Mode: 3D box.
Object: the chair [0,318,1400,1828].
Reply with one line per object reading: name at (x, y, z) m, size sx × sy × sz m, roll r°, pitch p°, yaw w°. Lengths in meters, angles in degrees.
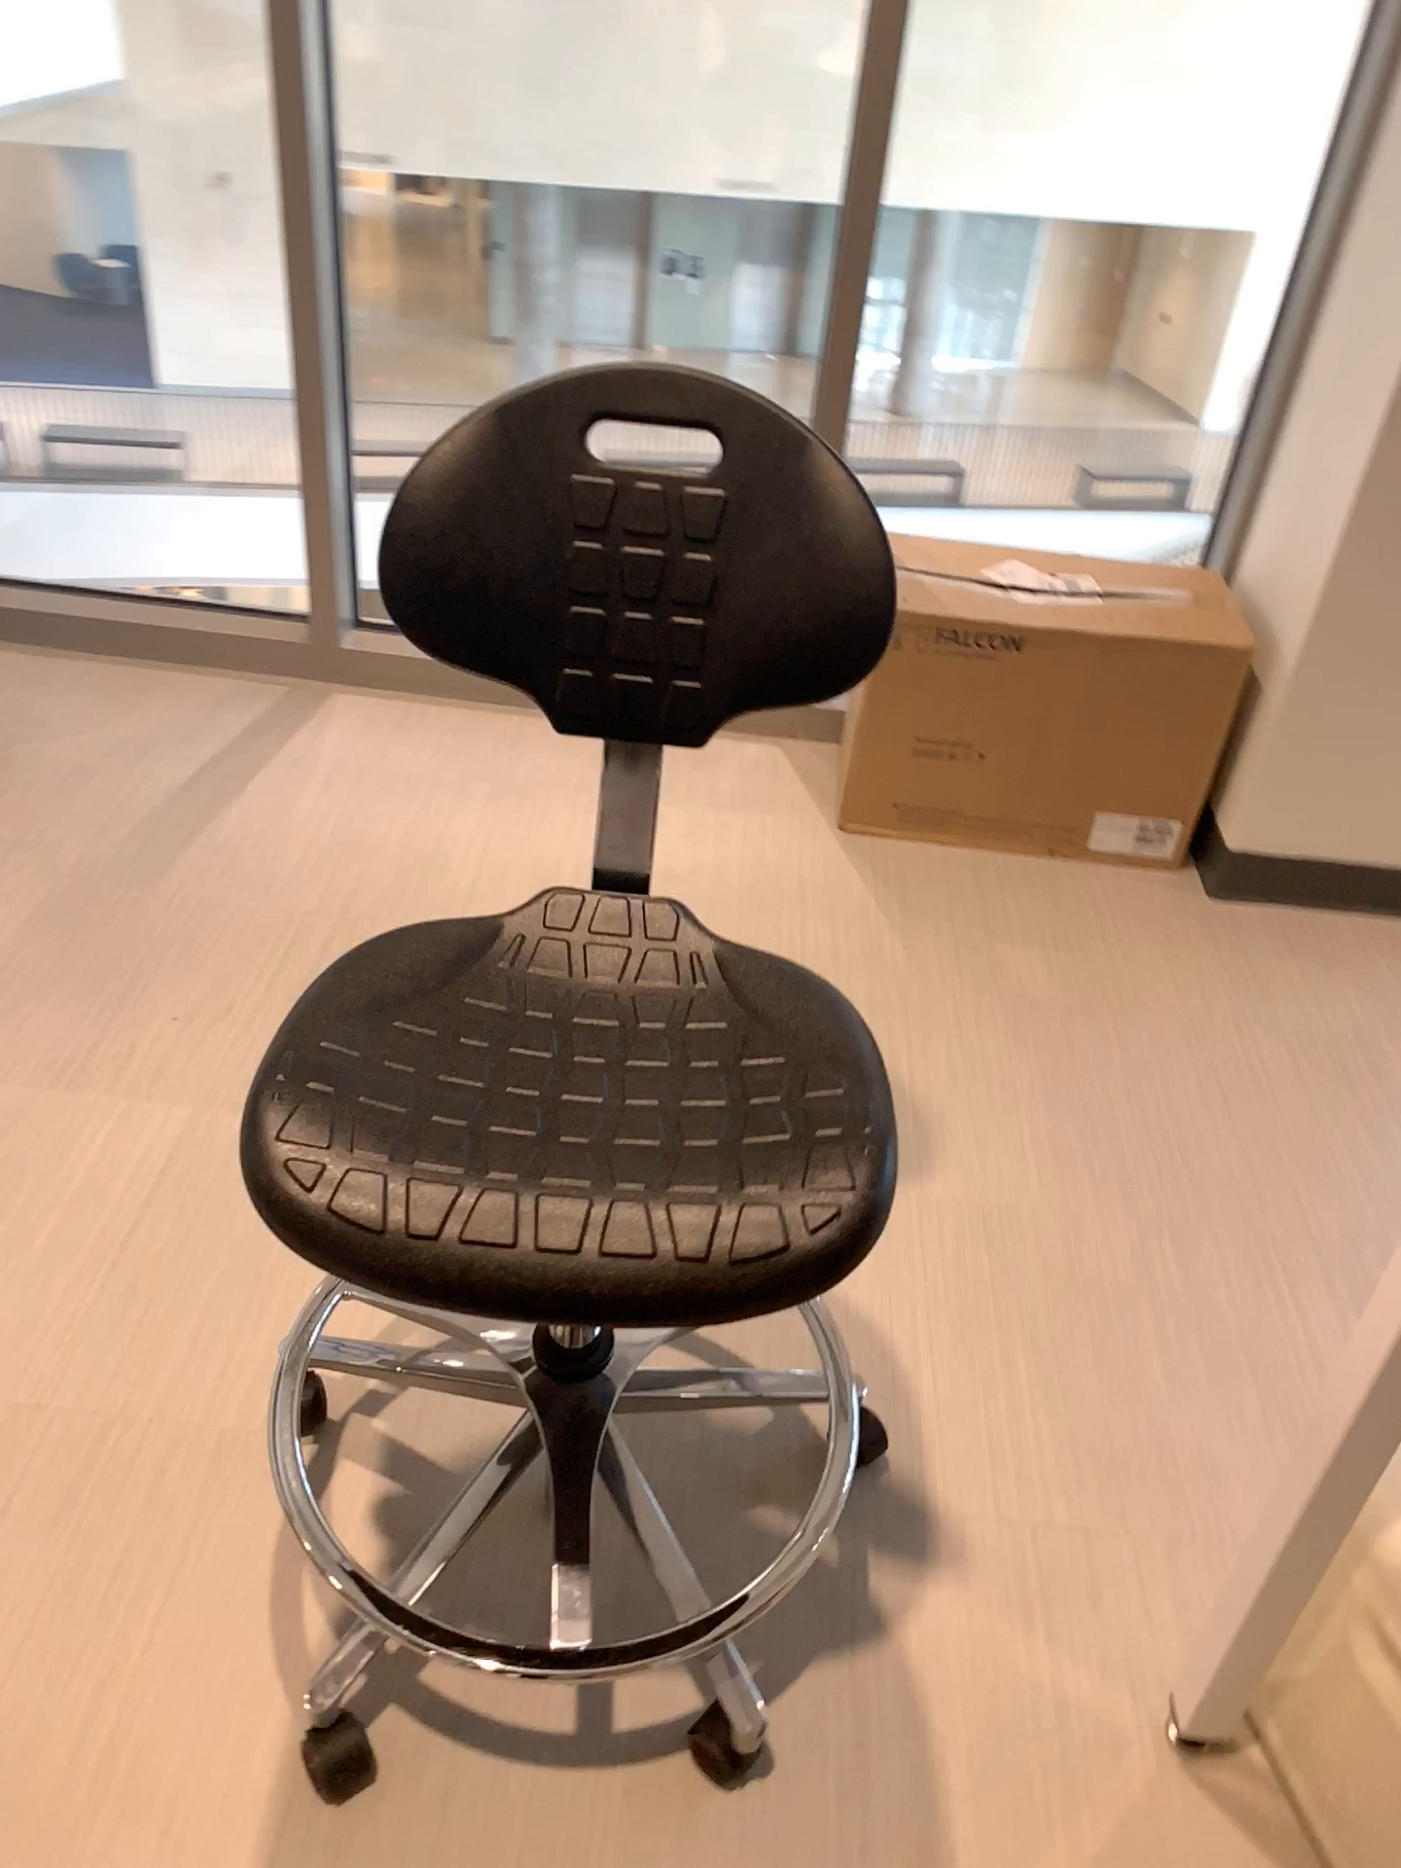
chair at (-0.056, 0.124, 1.143) m, size 0.670 × 0.961 × 0.666 m, roll 3°, pitch 35°, yaw -6°
